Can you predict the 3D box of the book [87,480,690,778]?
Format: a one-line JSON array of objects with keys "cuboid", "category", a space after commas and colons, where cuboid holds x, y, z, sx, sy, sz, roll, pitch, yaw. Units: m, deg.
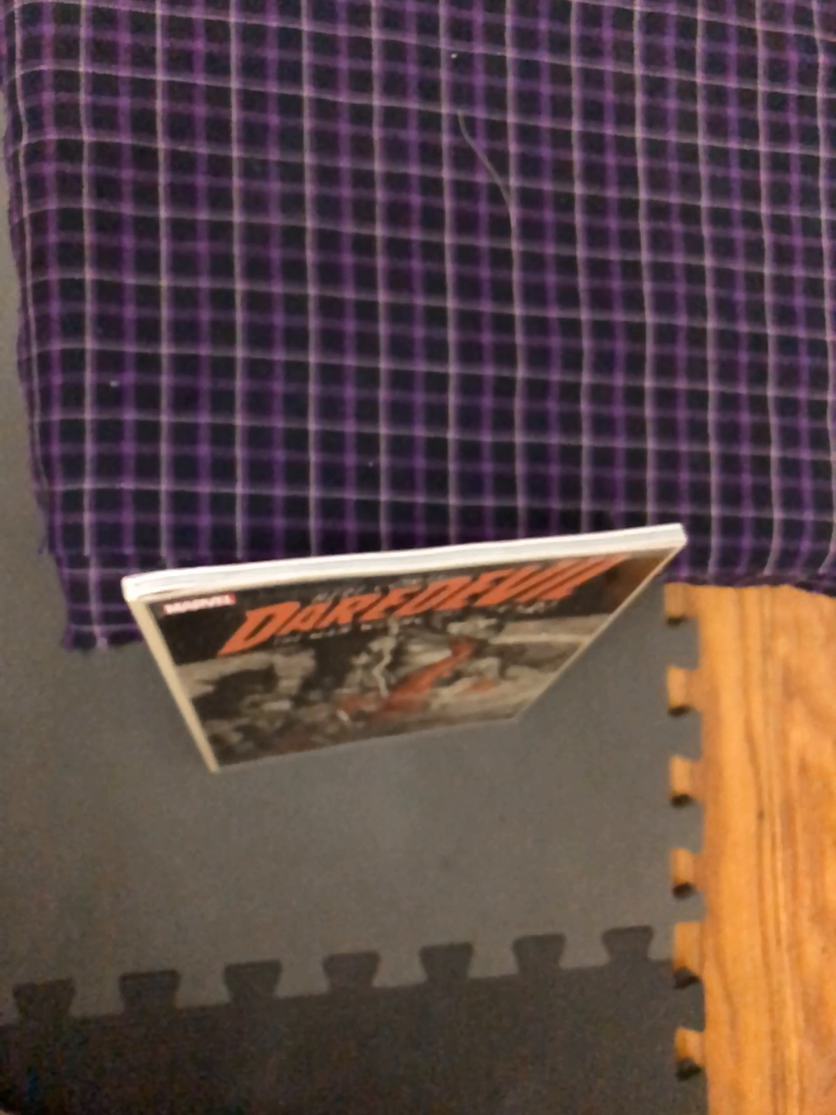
[{"cuboid": [-0.017, 0.041, 0.355, 0.160, 0.230, 0.020, -8, 69, -10], "category": "book"}]
